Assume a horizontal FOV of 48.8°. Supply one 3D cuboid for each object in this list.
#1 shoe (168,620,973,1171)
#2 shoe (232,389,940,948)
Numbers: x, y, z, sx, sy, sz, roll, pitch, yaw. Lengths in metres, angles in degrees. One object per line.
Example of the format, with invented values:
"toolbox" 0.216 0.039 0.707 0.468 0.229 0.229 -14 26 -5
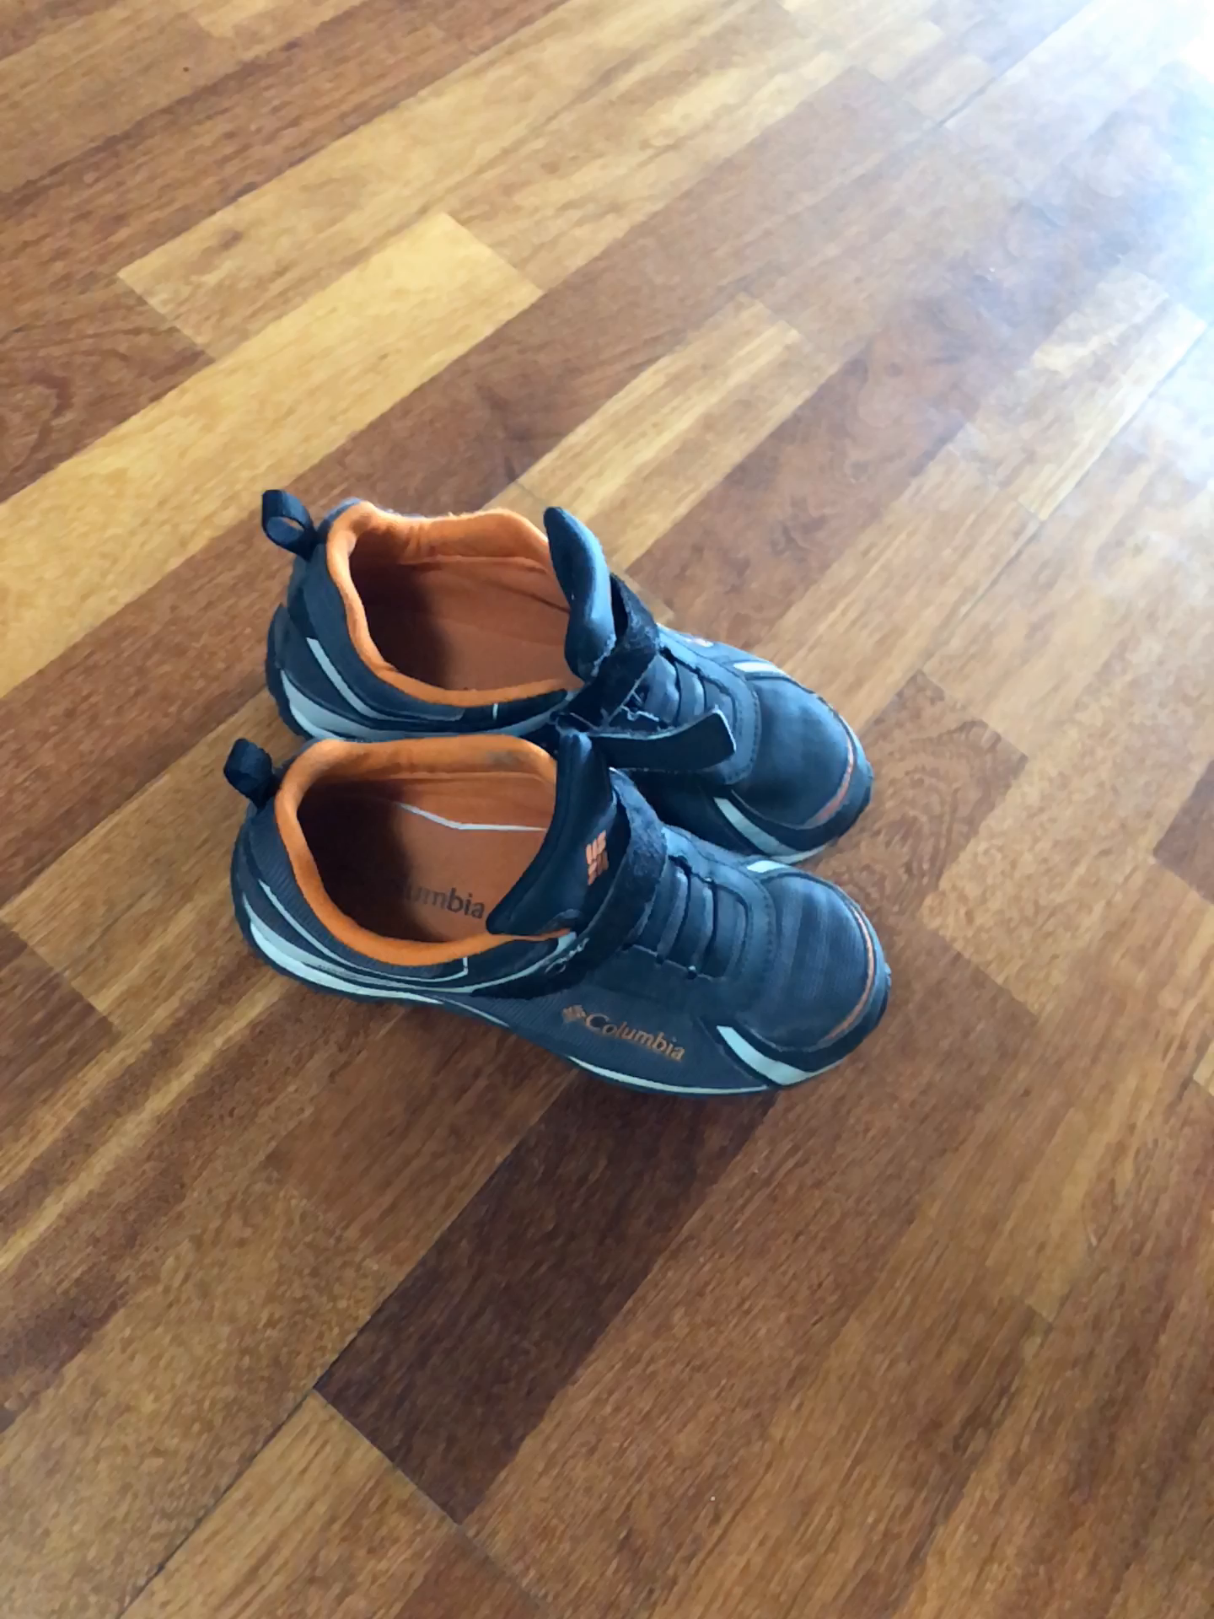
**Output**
"shoe" -0.013 0.038 0.475 0.247 0.102 0.097 18 63 -6
"shoe" -0.012 -0.050 0.557 0.252 0.127 0.112 18 63 -6
